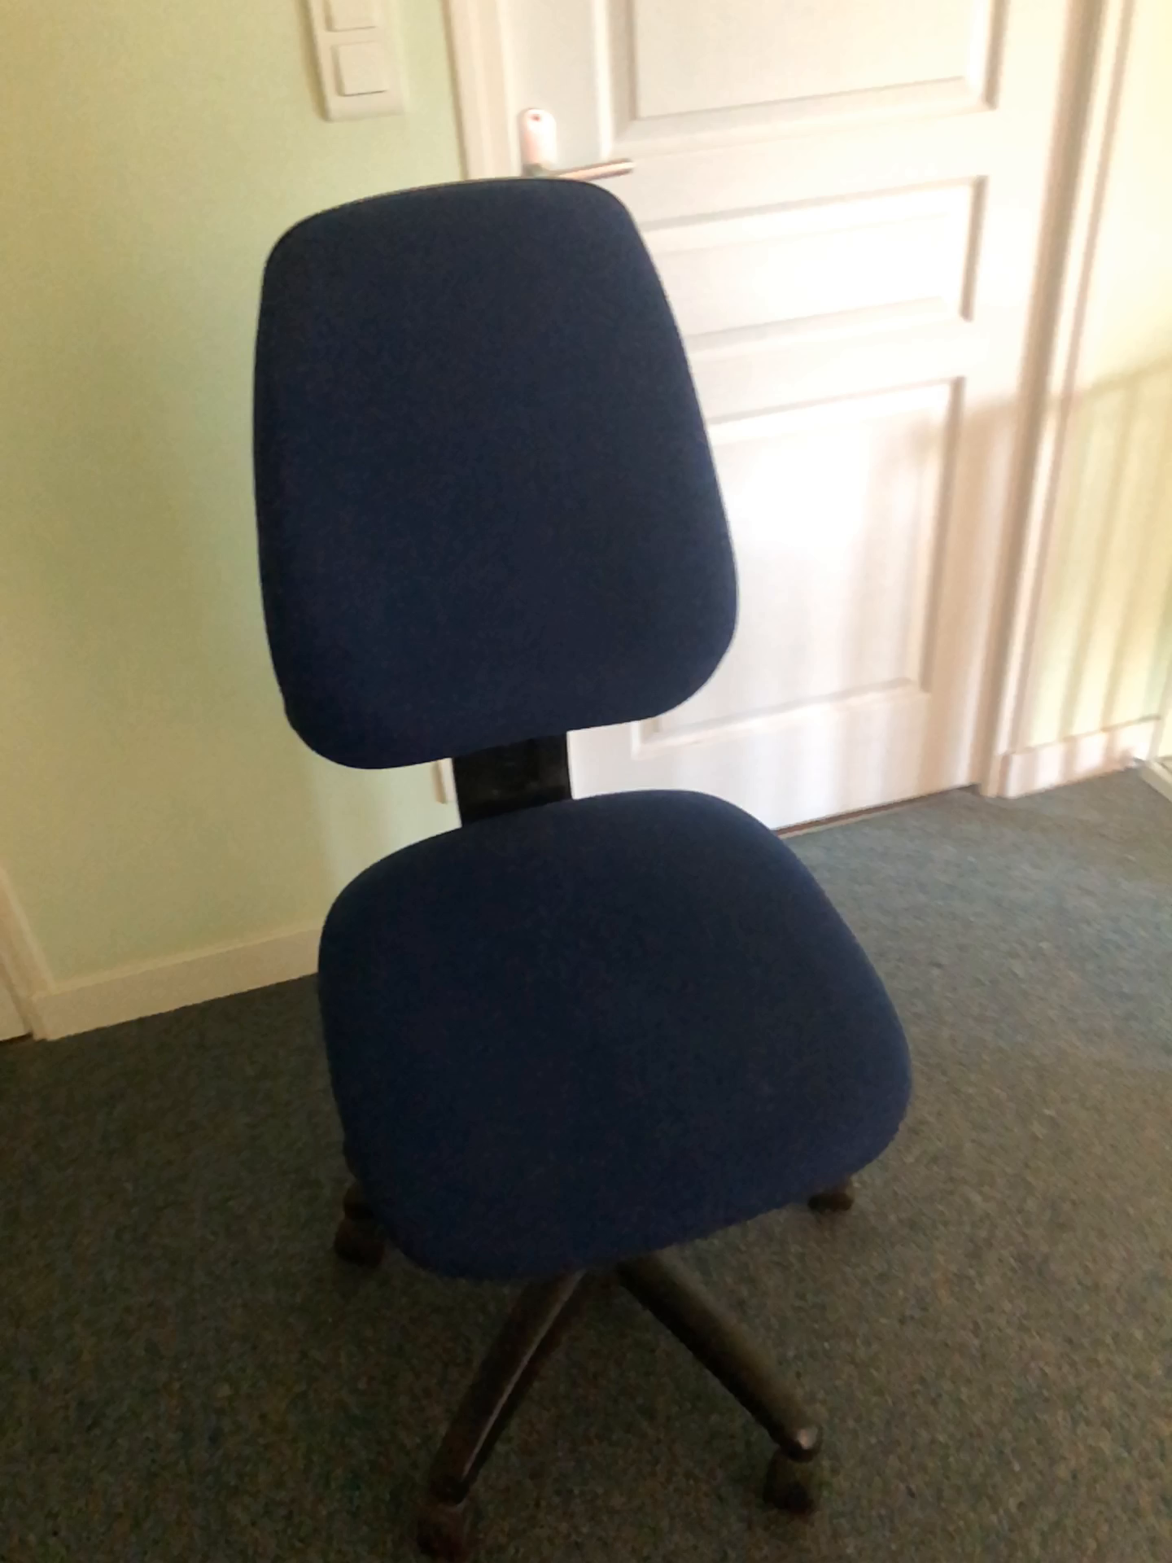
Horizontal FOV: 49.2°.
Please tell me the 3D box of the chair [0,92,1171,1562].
[{"bbox_3d":[0.038,0.098,1.129,0.701,1.114,0.673,-14,37,-14],"label":"chair"}]
